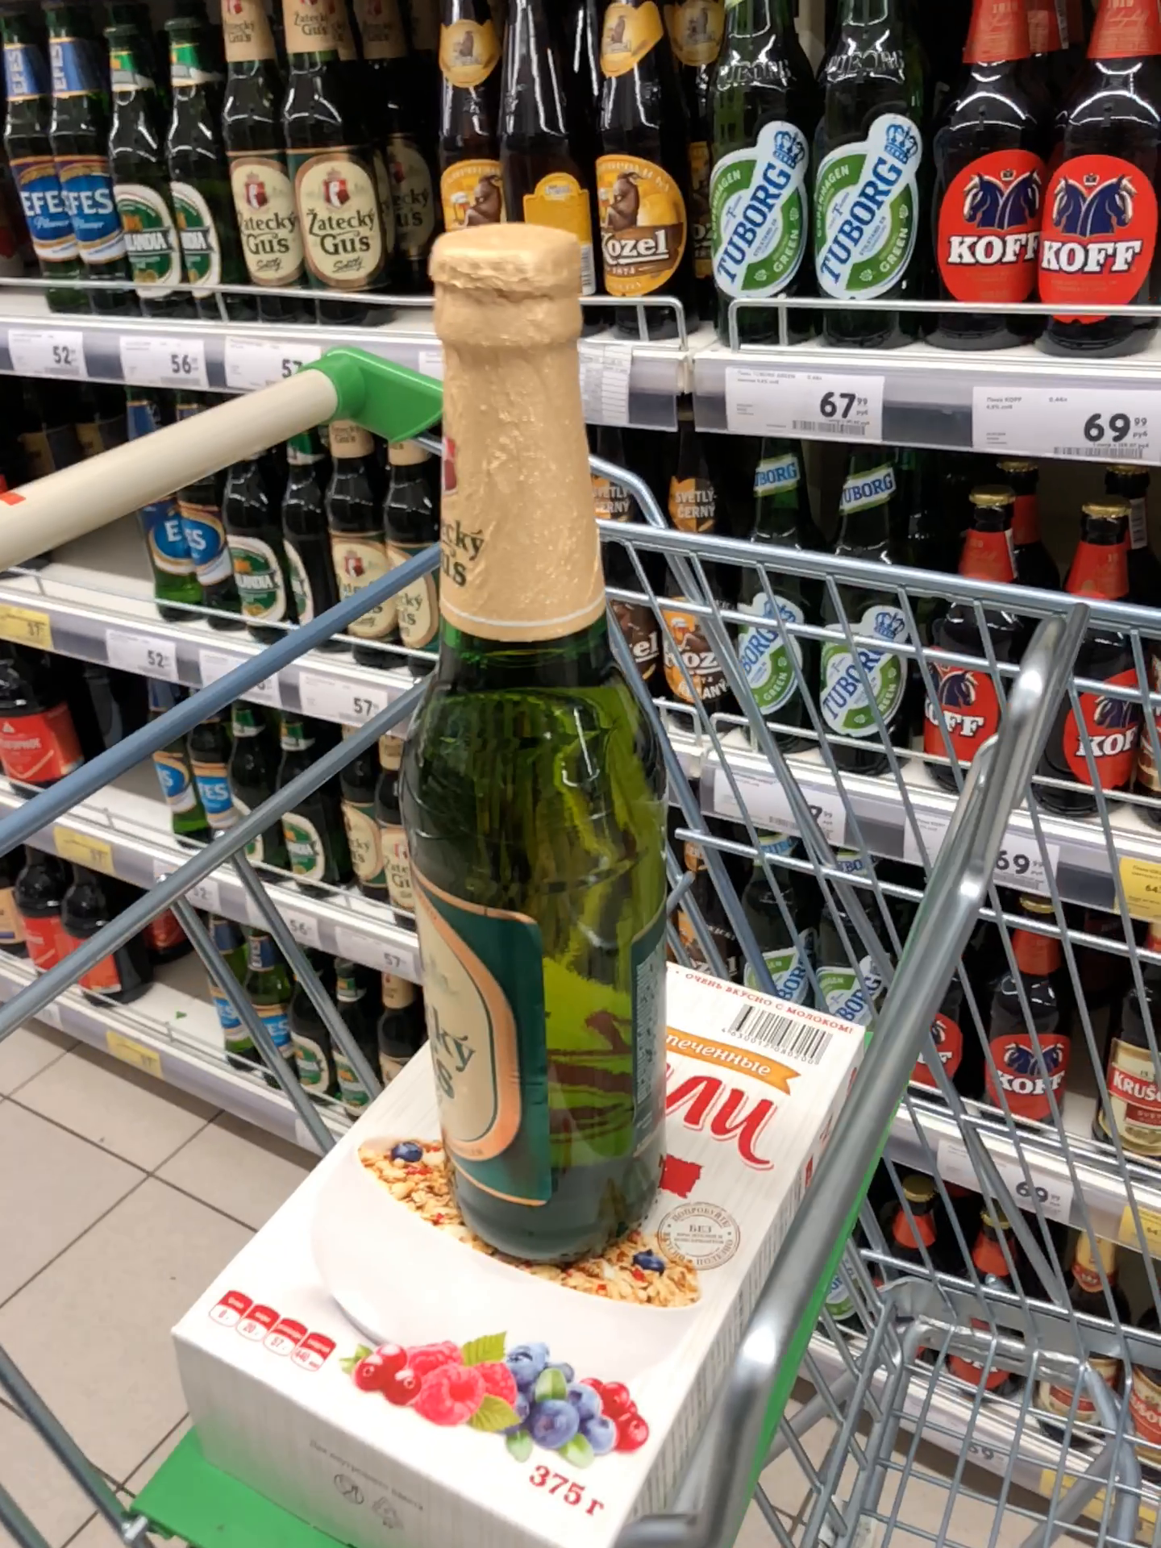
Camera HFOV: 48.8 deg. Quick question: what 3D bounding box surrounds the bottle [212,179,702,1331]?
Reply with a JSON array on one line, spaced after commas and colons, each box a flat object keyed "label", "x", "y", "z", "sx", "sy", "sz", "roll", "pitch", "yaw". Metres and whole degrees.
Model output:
[{"label": "bottle", "x": -0.015, "y": 0.011, "z": 0.309, "sx": 0.070, "sy": 0.268, "sz": 0.080, "roll": -5, "pitch": 30, "yaw": 2}]
